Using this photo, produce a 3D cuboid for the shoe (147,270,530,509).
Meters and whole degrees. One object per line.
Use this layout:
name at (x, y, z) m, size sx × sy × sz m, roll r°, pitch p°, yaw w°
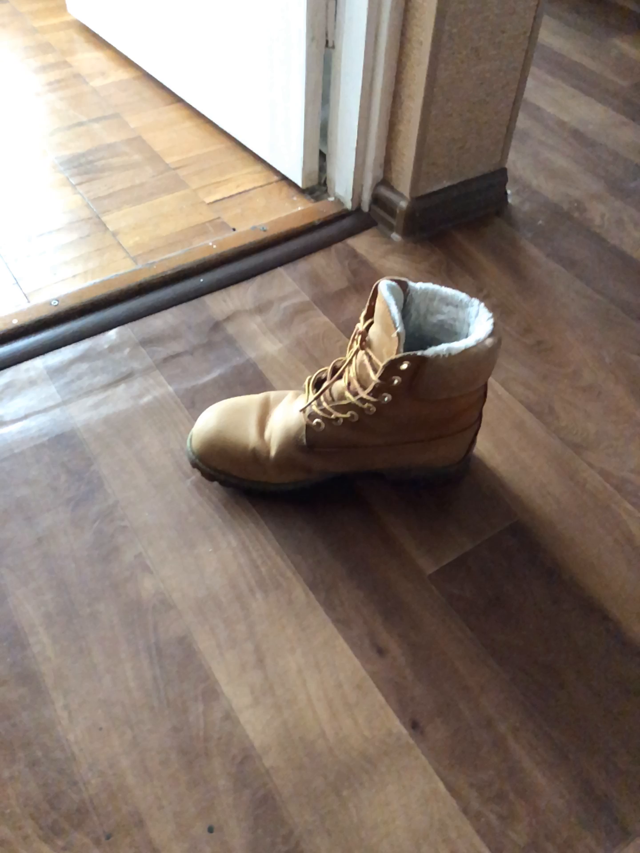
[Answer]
shoe at (0.009, -0.030, 0.636) m, size 0.290 × 0.179 × 0.121 m, roll -1°, pitch 50°, yaw -4°
